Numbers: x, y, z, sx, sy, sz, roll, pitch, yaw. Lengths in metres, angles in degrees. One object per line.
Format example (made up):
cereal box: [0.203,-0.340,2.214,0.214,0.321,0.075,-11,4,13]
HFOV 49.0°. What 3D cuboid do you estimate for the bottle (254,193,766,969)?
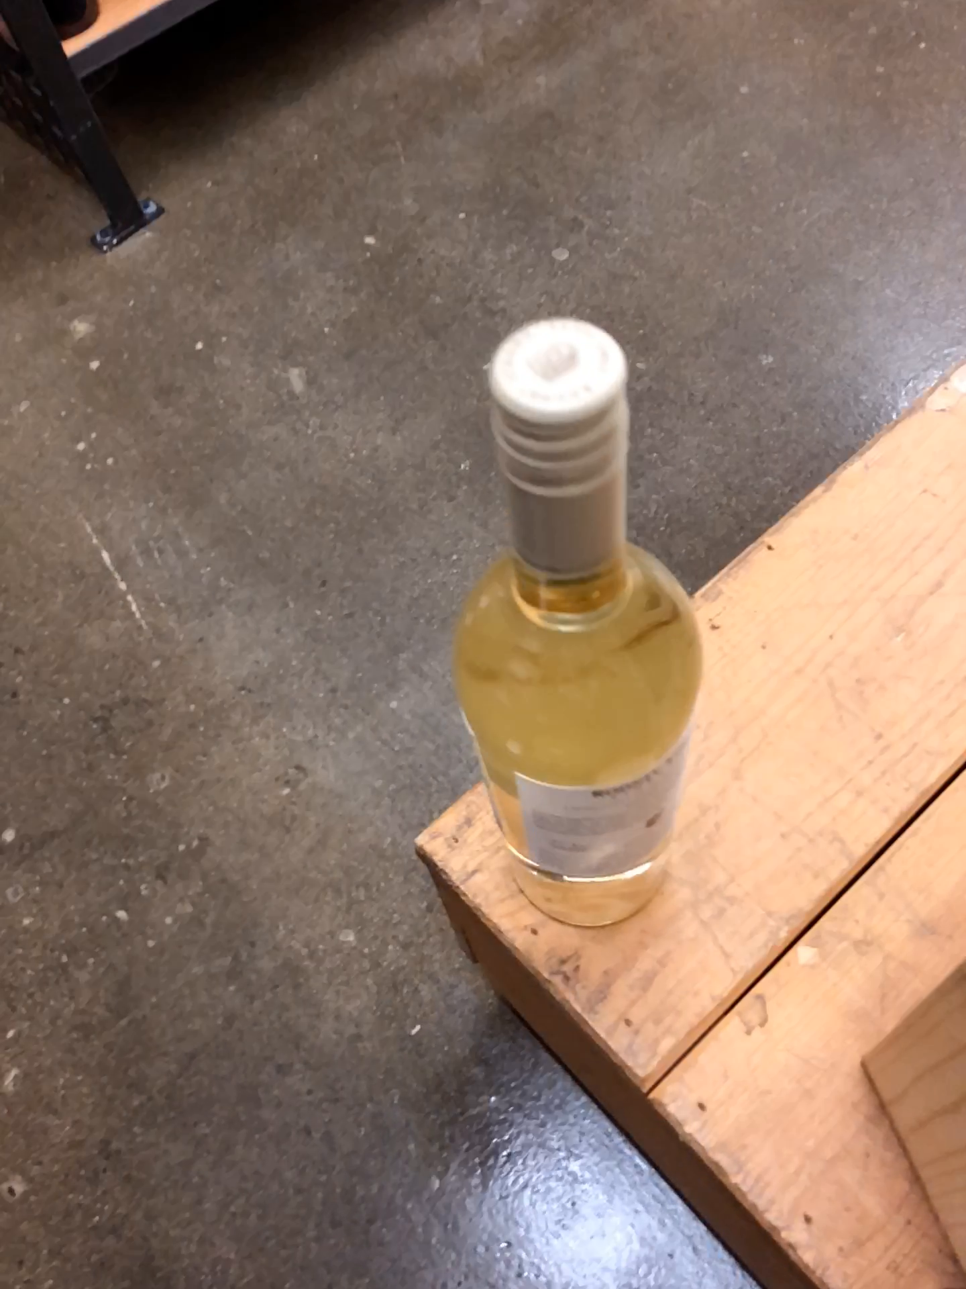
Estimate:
bottle: [0.022,0.014,0.340,0.073,0.284,0.079,-4,59,7]
